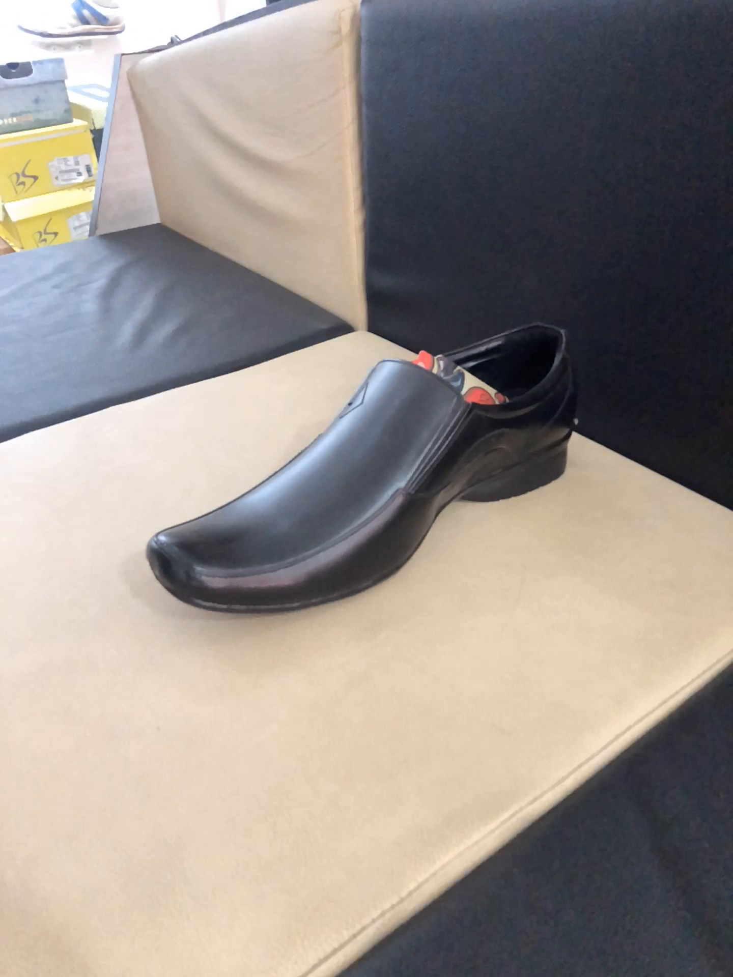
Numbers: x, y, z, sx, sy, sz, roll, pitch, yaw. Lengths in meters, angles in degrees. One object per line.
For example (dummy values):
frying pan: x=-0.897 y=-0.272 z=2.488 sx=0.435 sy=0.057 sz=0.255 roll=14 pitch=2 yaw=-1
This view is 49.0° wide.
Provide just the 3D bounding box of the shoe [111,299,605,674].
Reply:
shoe: x=0.011 y=-0.019 z=0.468 sx=0.281 sy=0.090 sz=0.090 roll=-27 pitch=40 yaw=-31
